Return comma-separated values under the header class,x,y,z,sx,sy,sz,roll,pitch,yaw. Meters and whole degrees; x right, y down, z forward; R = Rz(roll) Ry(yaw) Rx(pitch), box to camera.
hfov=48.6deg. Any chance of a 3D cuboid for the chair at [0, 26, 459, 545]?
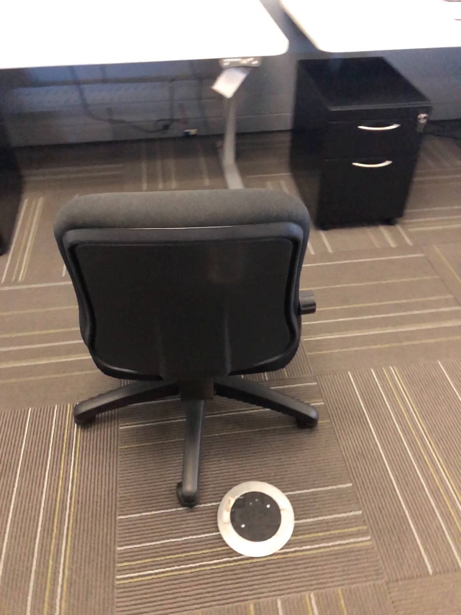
class,x,y,z,sx,sy,sz,roll,pitch,yaw
chair,-0.138,-0.068,1.189,0.770,0.846,0.764,-6,43,-6
